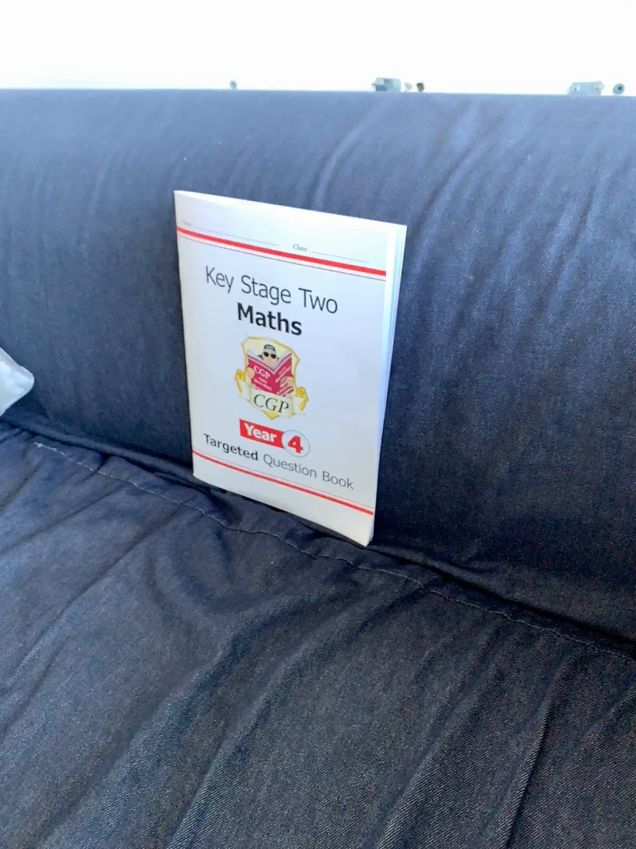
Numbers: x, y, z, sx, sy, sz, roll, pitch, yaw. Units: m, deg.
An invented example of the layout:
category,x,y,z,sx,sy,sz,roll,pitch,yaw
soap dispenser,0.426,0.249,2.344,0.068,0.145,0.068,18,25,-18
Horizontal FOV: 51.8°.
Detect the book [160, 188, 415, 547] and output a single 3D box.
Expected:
category,x,y,z,sx,sy,sz,roll,pitch,yaw
book,-0.038,-0.052,0.565,0.221,0.266,0.030,17,27,28
